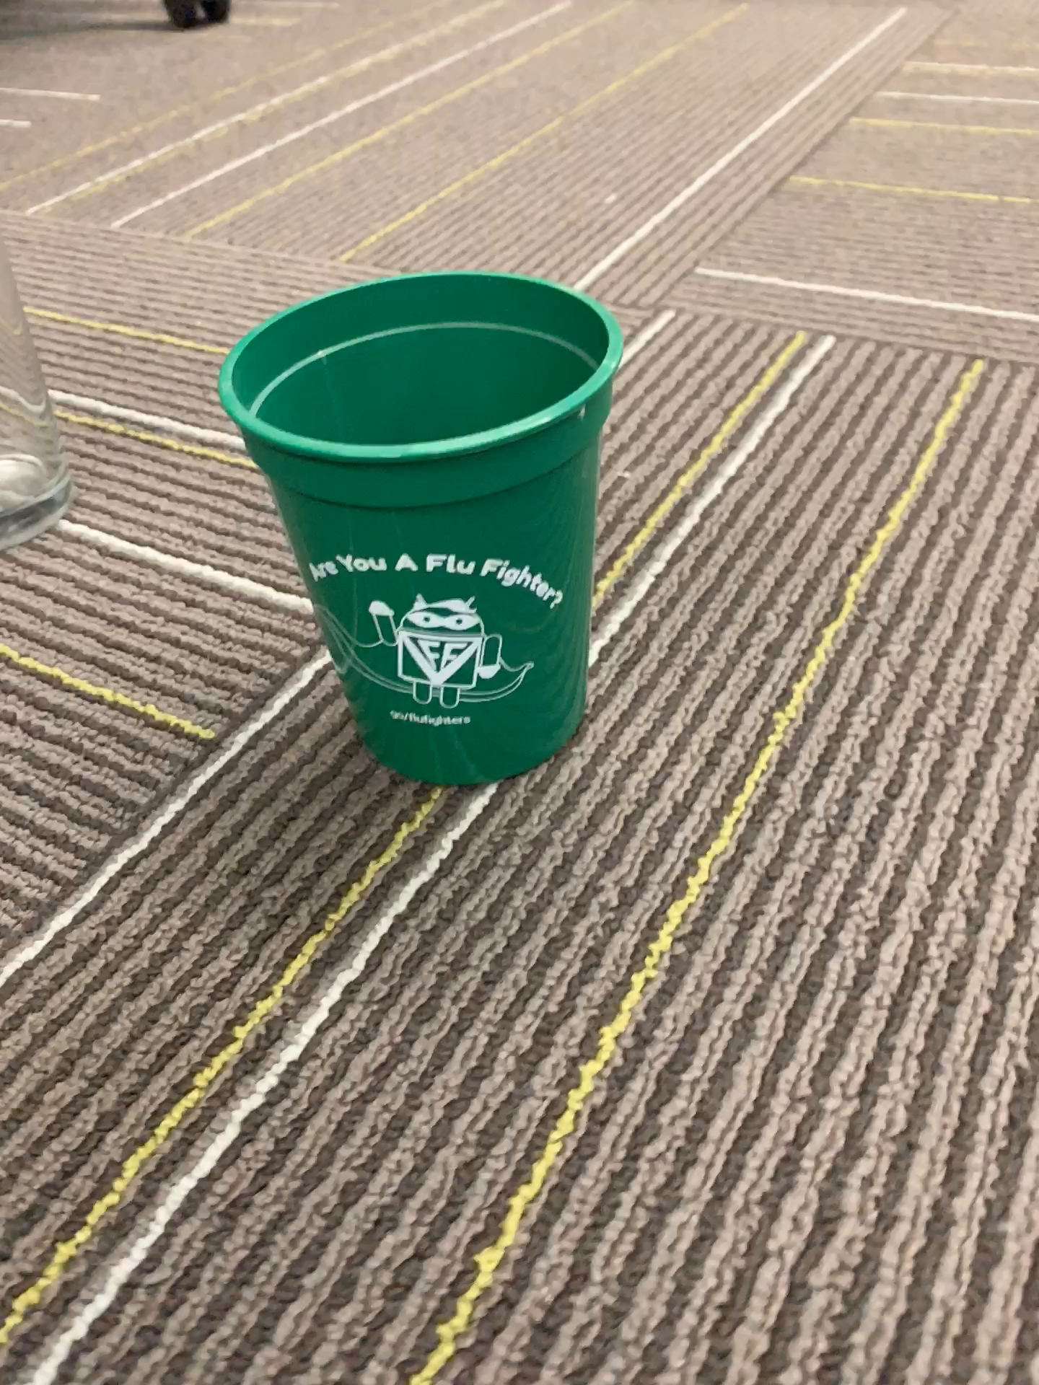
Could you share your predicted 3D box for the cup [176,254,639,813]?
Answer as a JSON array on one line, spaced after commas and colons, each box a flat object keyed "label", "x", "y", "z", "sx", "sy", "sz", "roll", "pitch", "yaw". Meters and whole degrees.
[{"label": "cup", "x": -0.017, "y": -0.041, "z": 0.288, "sx": 0.090, "sy": 0.119, "sz": 0.080, "roll": 3, "pitch": 43, "yaw": 10}]
